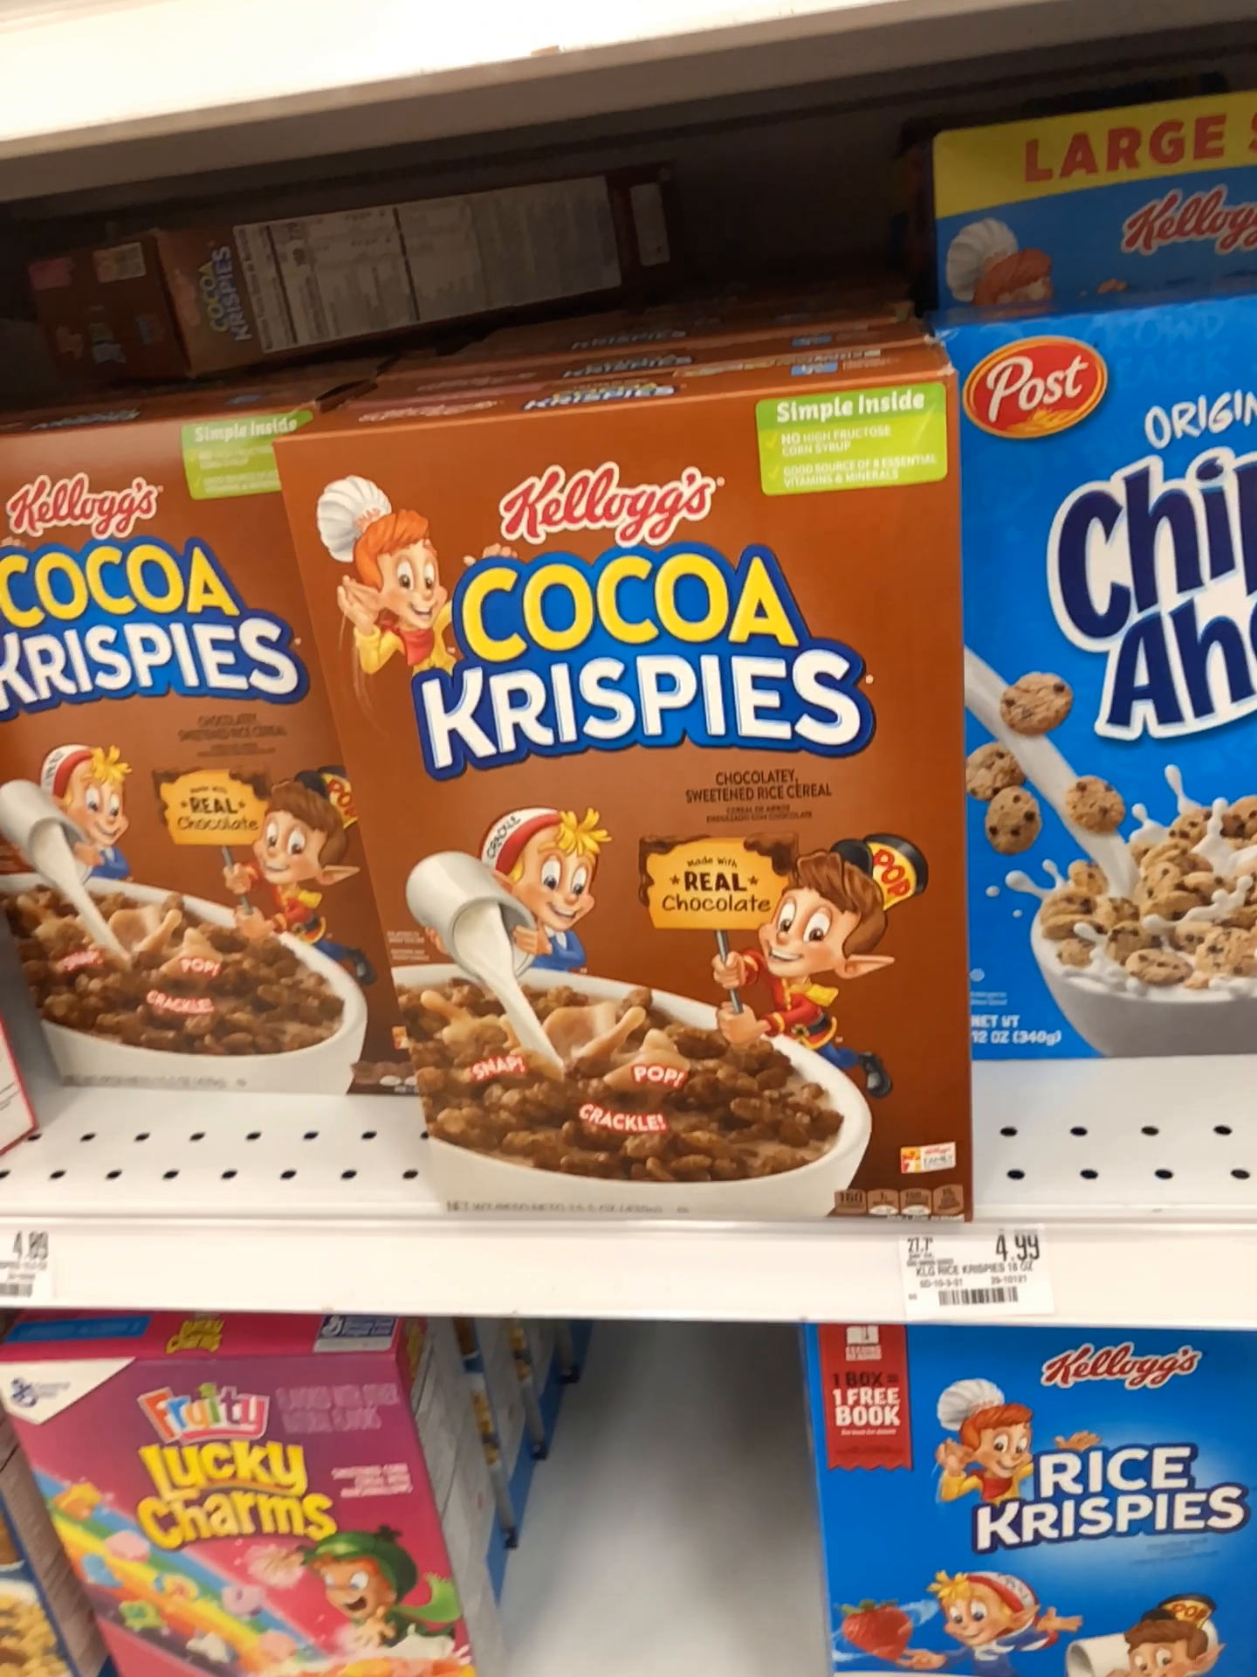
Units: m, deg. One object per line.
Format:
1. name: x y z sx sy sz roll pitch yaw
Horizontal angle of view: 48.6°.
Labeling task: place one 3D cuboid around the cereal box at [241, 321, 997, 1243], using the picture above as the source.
1. cereal box: 0.014 -0.003 0.461 0.200 0.289 0.070 -3 26 11
